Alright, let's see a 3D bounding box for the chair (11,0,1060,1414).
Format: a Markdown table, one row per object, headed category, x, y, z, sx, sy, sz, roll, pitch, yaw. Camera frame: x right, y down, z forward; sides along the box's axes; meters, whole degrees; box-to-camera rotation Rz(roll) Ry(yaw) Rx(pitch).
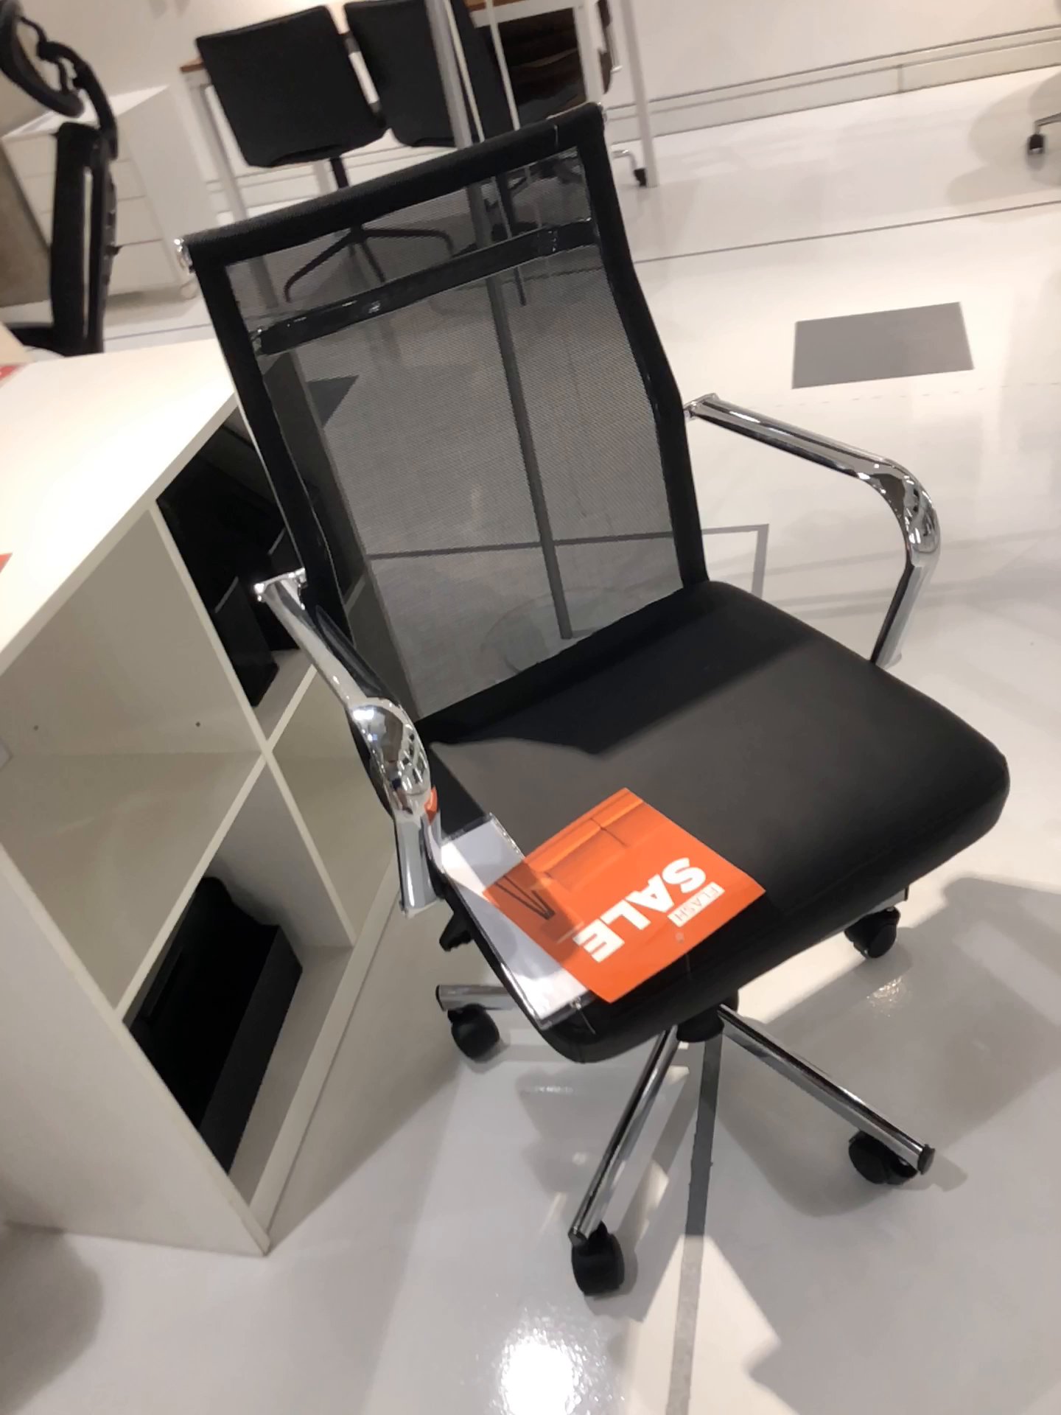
| category | x | y | z | sx | sy | sz | roll | pitch | yaw |
| --- | --- | --- | --- | --- | --- | --- | --- | --- | --- |
| chair | 0.097 | -0.018 | 1.082 | 0.611 | 0.992 | 0.624 | -28 | 39 | -16 |
